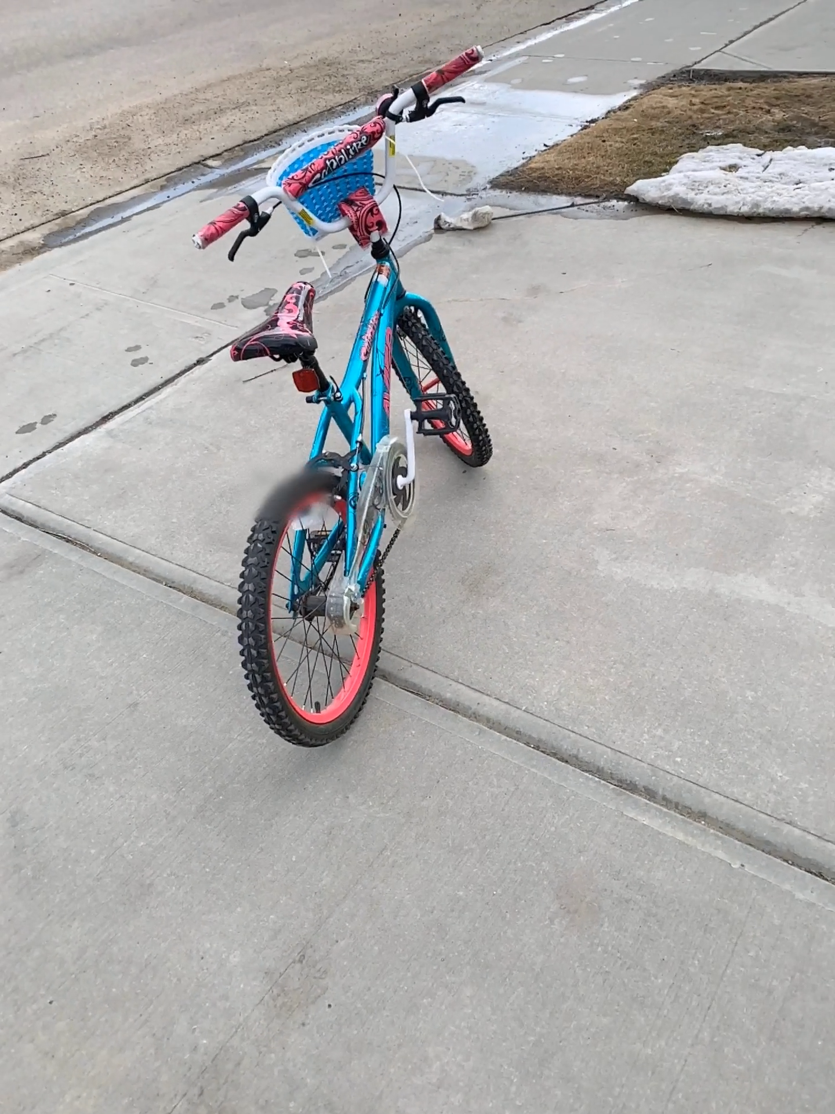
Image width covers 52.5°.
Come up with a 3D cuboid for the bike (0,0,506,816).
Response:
[{"bbox_3d":[-0.242,-0.389,1.669,0.743,0.946,1.264,4,44,9],"label":"bike"}]
